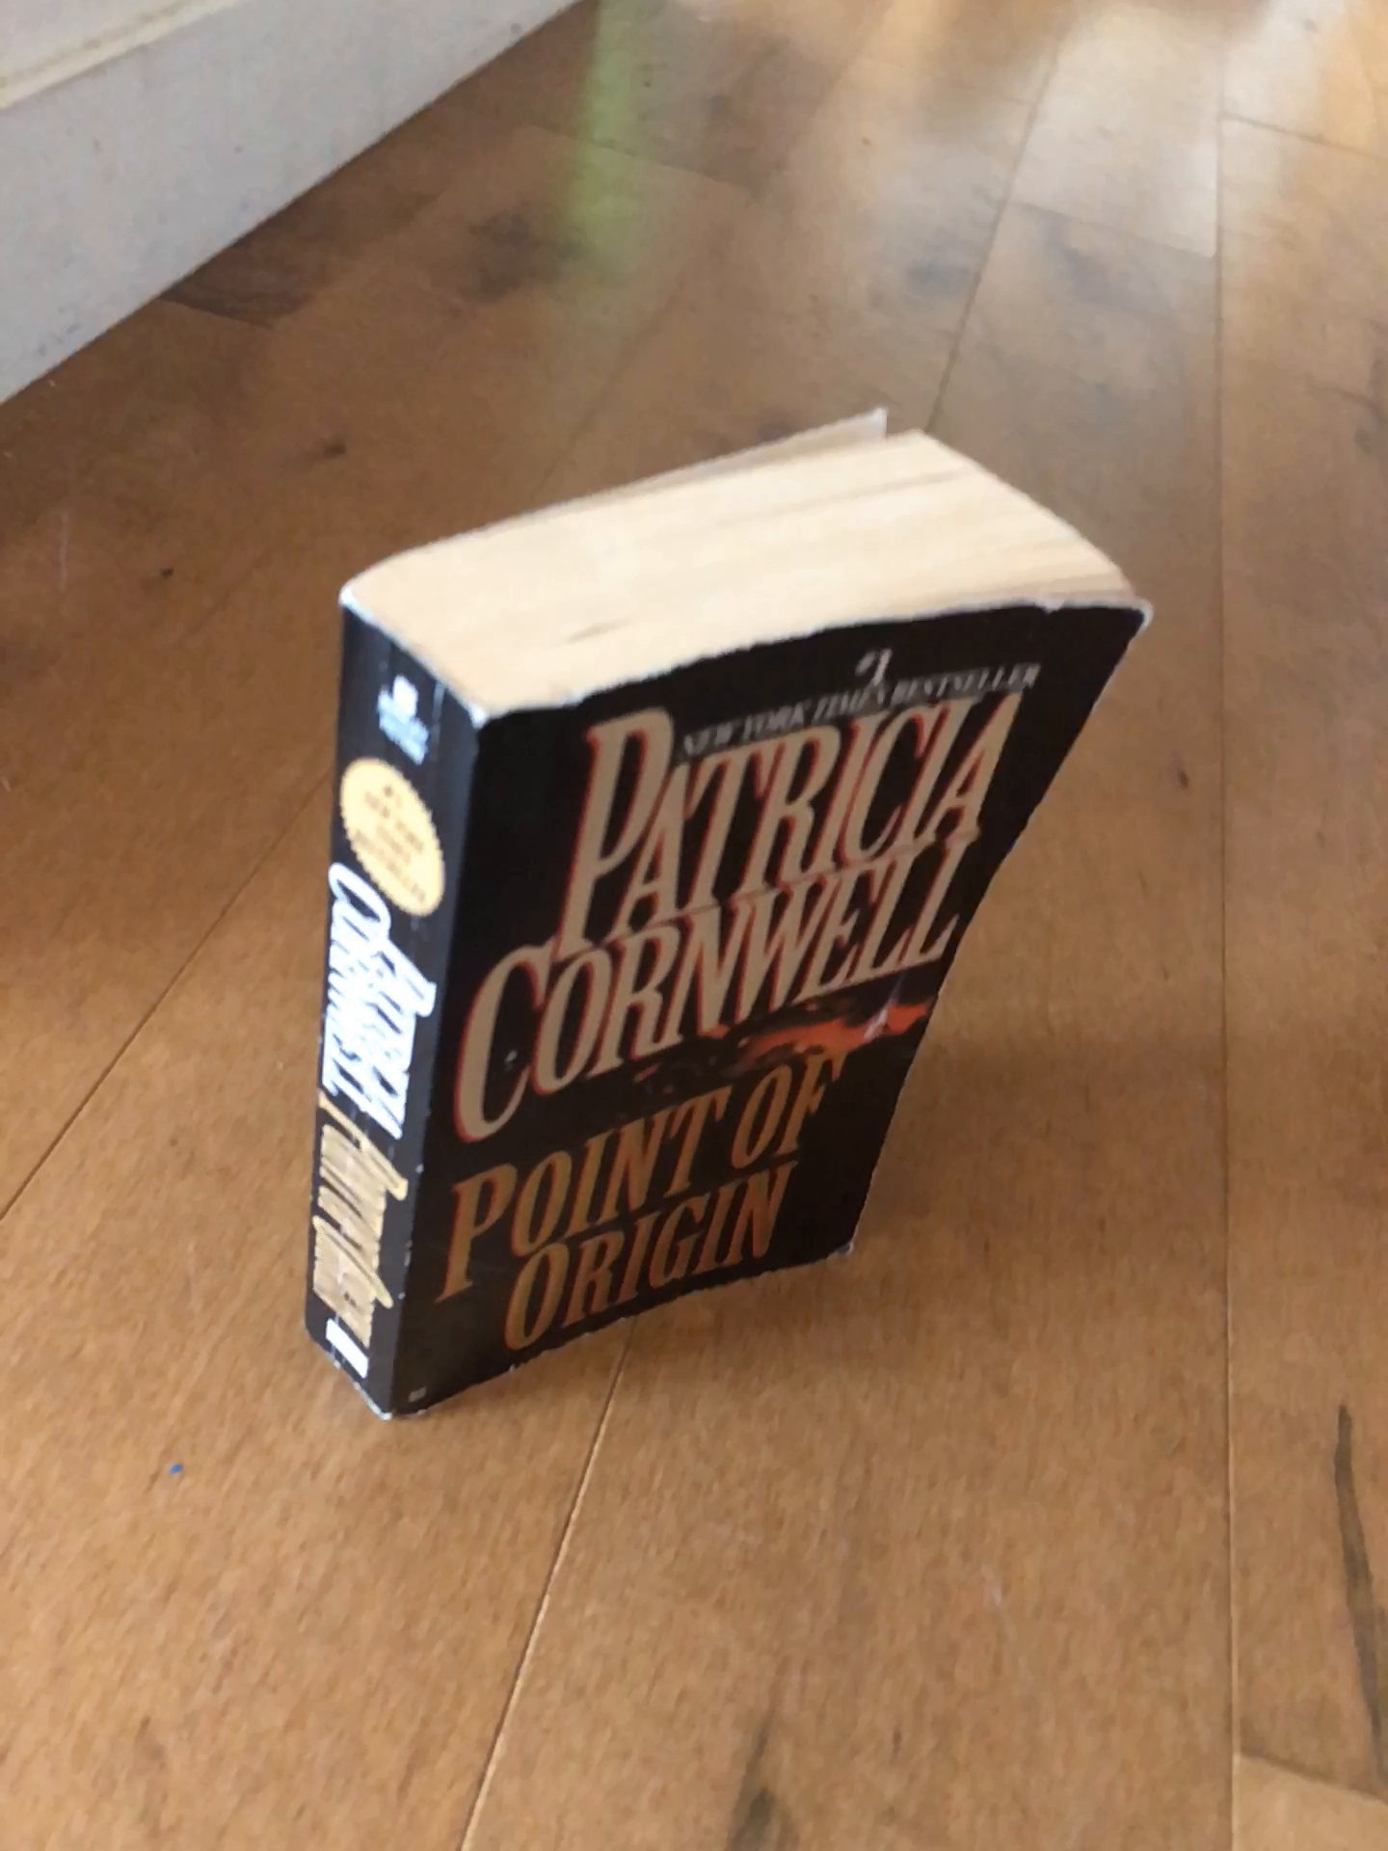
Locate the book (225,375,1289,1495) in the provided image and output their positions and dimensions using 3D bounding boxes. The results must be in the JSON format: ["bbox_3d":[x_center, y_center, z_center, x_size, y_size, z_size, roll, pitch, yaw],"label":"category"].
[{"bbox_3d":[-0.001,0.006,0.245,0.130,0.159,0.050,-20,56,-31],"label":"book"}]
